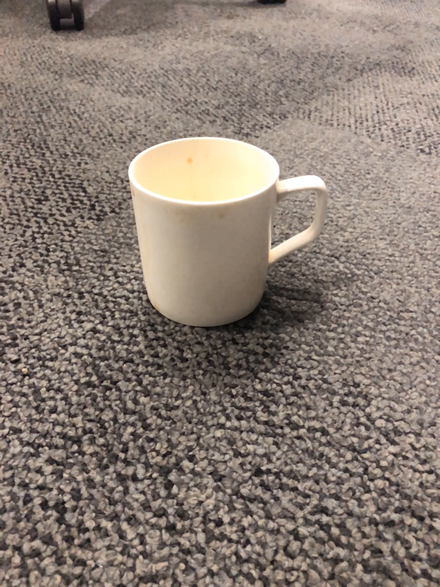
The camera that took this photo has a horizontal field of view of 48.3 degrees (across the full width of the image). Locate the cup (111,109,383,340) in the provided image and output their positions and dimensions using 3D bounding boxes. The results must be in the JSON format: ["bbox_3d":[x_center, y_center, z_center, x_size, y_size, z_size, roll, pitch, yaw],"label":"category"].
[{"bbox_3d":[0.007,-0.036,0.232,0.100,0.070,0.070,-9,41,-11],"label":"cup"}]
